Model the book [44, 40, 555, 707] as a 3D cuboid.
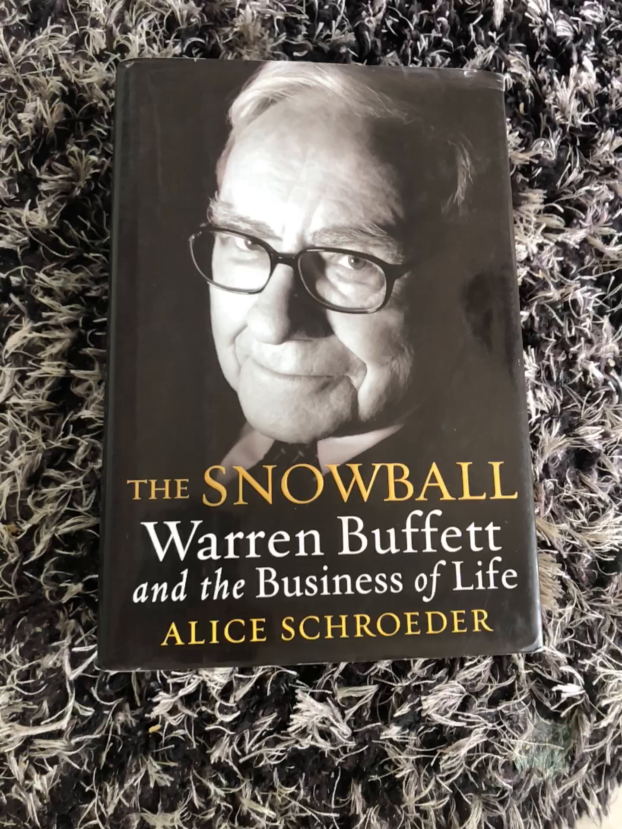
[{"bbox_3d":[-0.007,-0.021,0.293,0.180,0.060,0.250,0,80,-7],"label":"book"}]
